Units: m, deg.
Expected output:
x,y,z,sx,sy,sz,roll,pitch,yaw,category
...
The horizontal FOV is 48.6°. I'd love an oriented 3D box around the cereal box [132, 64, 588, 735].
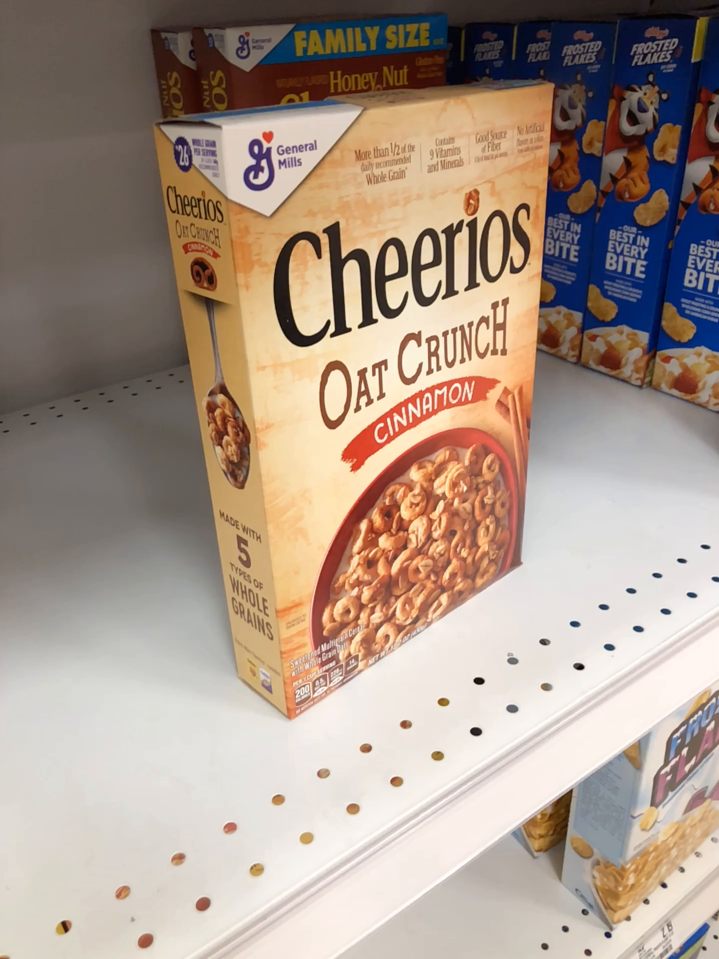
x,y,z,sx,sy,sz,roll,pitch,yaw,category
0.015,-0.039,0.391,0.200,0.279,0.050,-26,39,-34,cereal box
